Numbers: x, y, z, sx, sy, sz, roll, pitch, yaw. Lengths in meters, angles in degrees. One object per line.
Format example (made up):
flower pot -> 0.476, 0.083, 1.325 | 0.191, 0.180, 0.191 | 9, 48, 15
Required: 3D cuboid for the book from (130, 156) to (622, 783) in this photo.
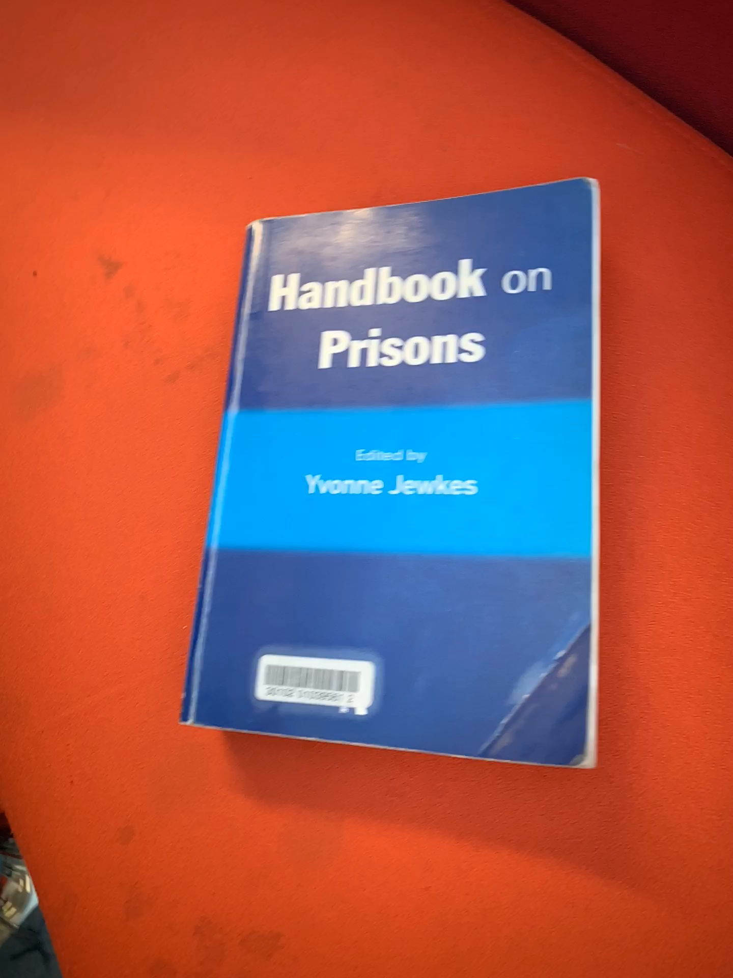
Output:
book -> 0.015, -0.016, 0.363 | 0.201, 0.060, 0.271 | 0, 71, 17
